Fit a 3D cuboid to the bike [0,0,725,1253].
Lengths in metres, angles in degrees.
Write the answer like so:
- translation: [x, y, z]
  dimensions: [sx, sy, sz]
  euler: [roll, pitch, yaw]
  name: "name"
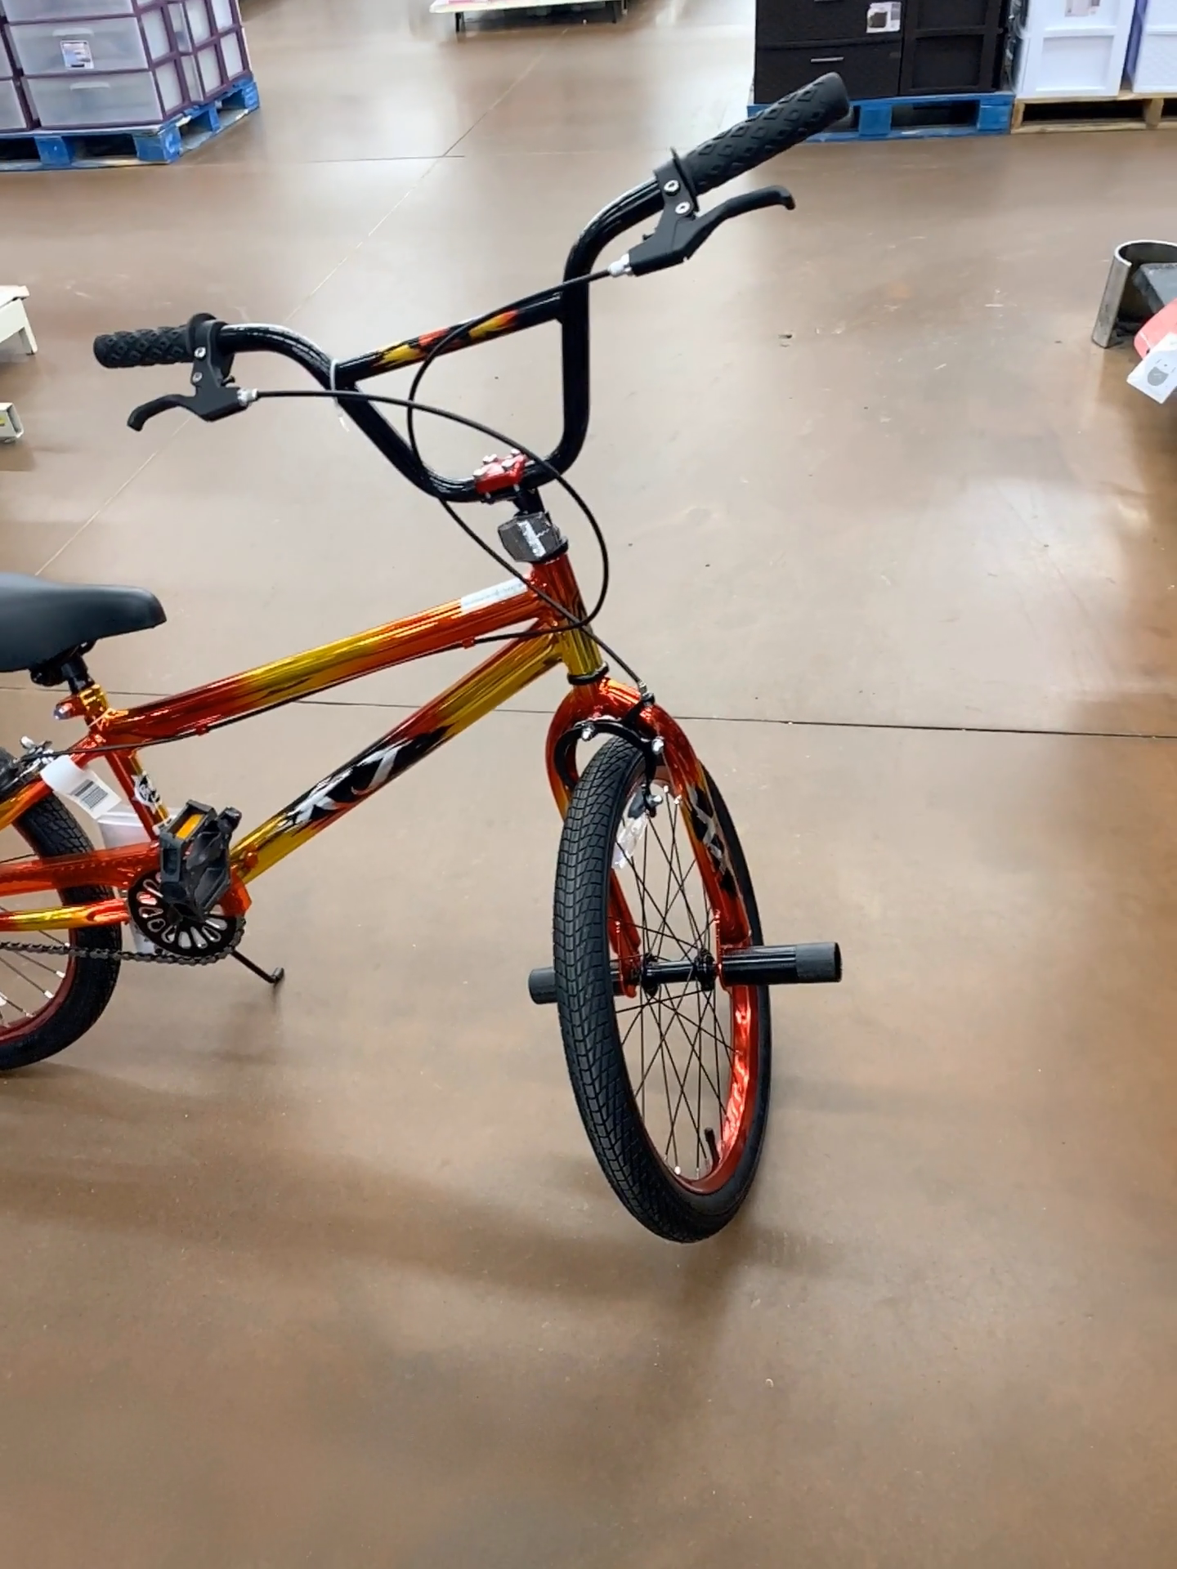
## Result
- translation: [-0.429, -0.172, 1.219]
  dimensions: [1.122, 0.925, 0.707]
  euler: [-5, 39, 2]
  name: "bike"
